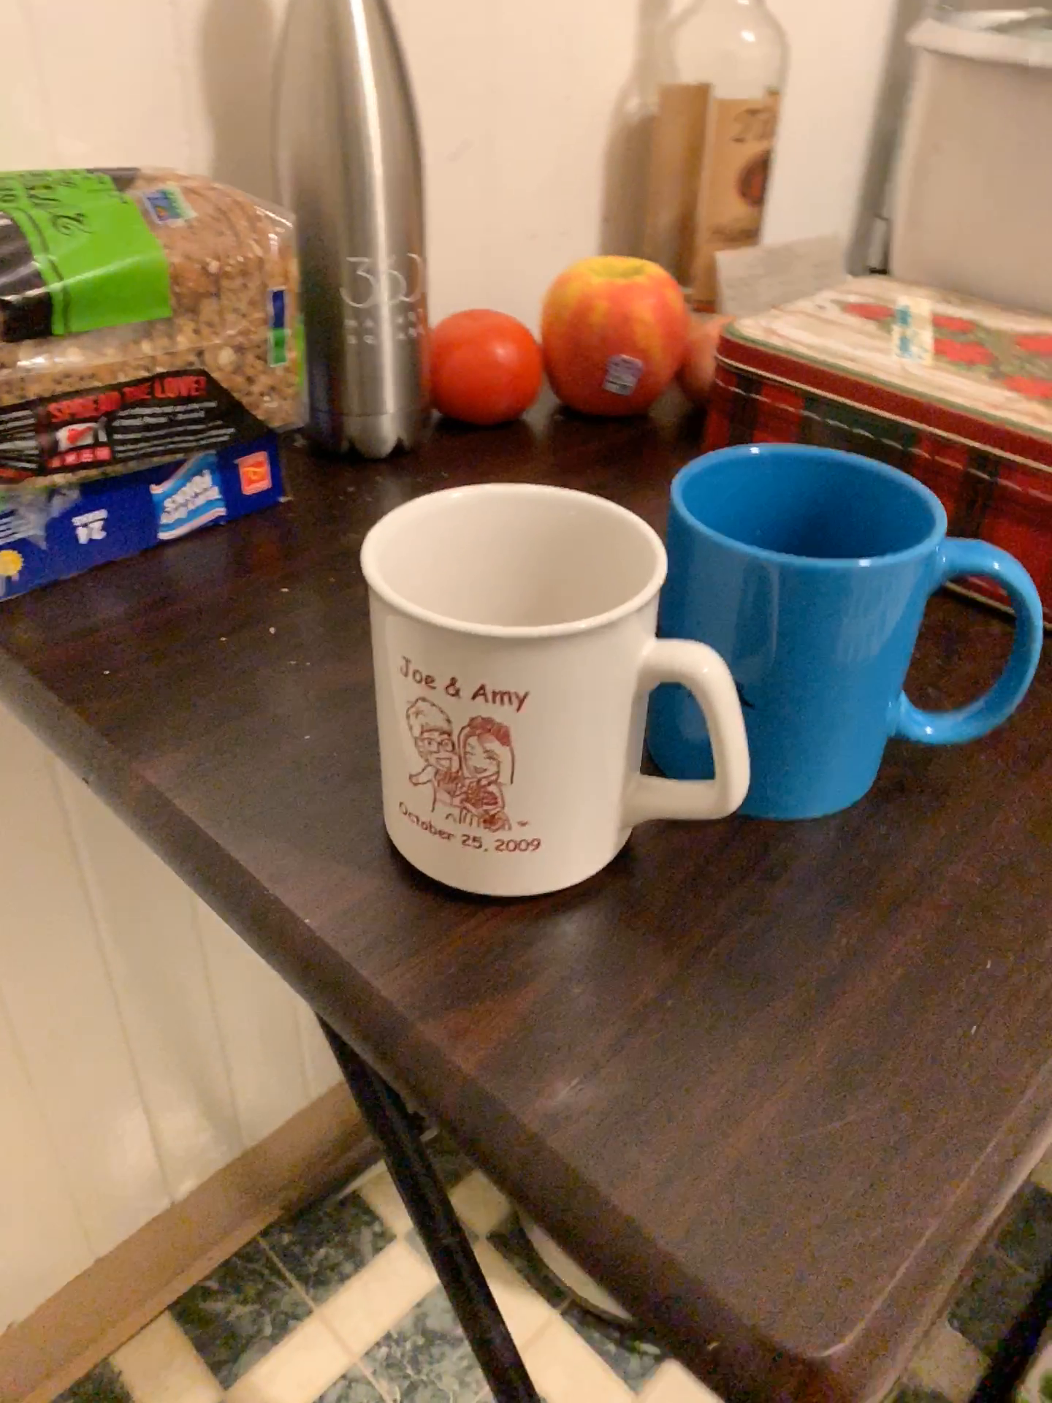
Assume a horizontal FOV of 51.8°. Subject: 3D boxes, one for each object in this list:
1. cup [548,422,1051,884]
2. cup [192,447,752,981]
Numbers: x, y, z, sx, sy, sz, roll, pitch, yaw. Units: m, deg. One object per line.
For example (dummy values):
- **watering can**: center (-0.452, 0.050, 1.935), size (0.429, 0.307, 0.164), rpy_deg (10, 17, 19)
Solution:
- **cup**: center (0.087, -0.020, 0.356), size (0.140, 0.099, 0.090), rpy_deg (9, 36, 9)
- **cup**: center (-0.013, -0.003, 0.314), size (0.120, 0.089, 0.090), rpy_deg (18, 39, 20)
